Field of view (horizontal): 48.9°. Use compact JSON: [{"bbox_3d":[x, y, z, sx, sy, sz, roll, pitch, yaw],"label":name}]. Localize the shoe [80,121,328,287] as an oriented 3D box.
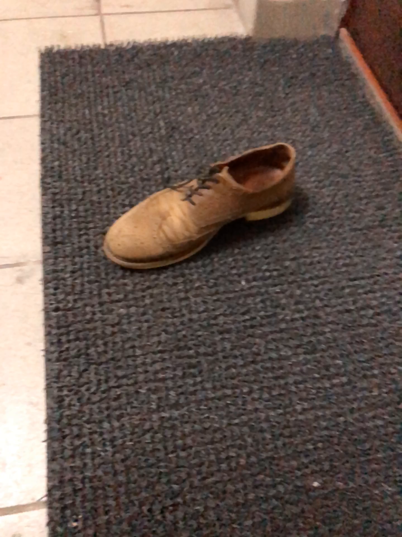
[{"bbox_3d":[0.005,-0.093,0.608,0.300,0.099,0.110,-19,62,-16],"label":"shoe"}]
